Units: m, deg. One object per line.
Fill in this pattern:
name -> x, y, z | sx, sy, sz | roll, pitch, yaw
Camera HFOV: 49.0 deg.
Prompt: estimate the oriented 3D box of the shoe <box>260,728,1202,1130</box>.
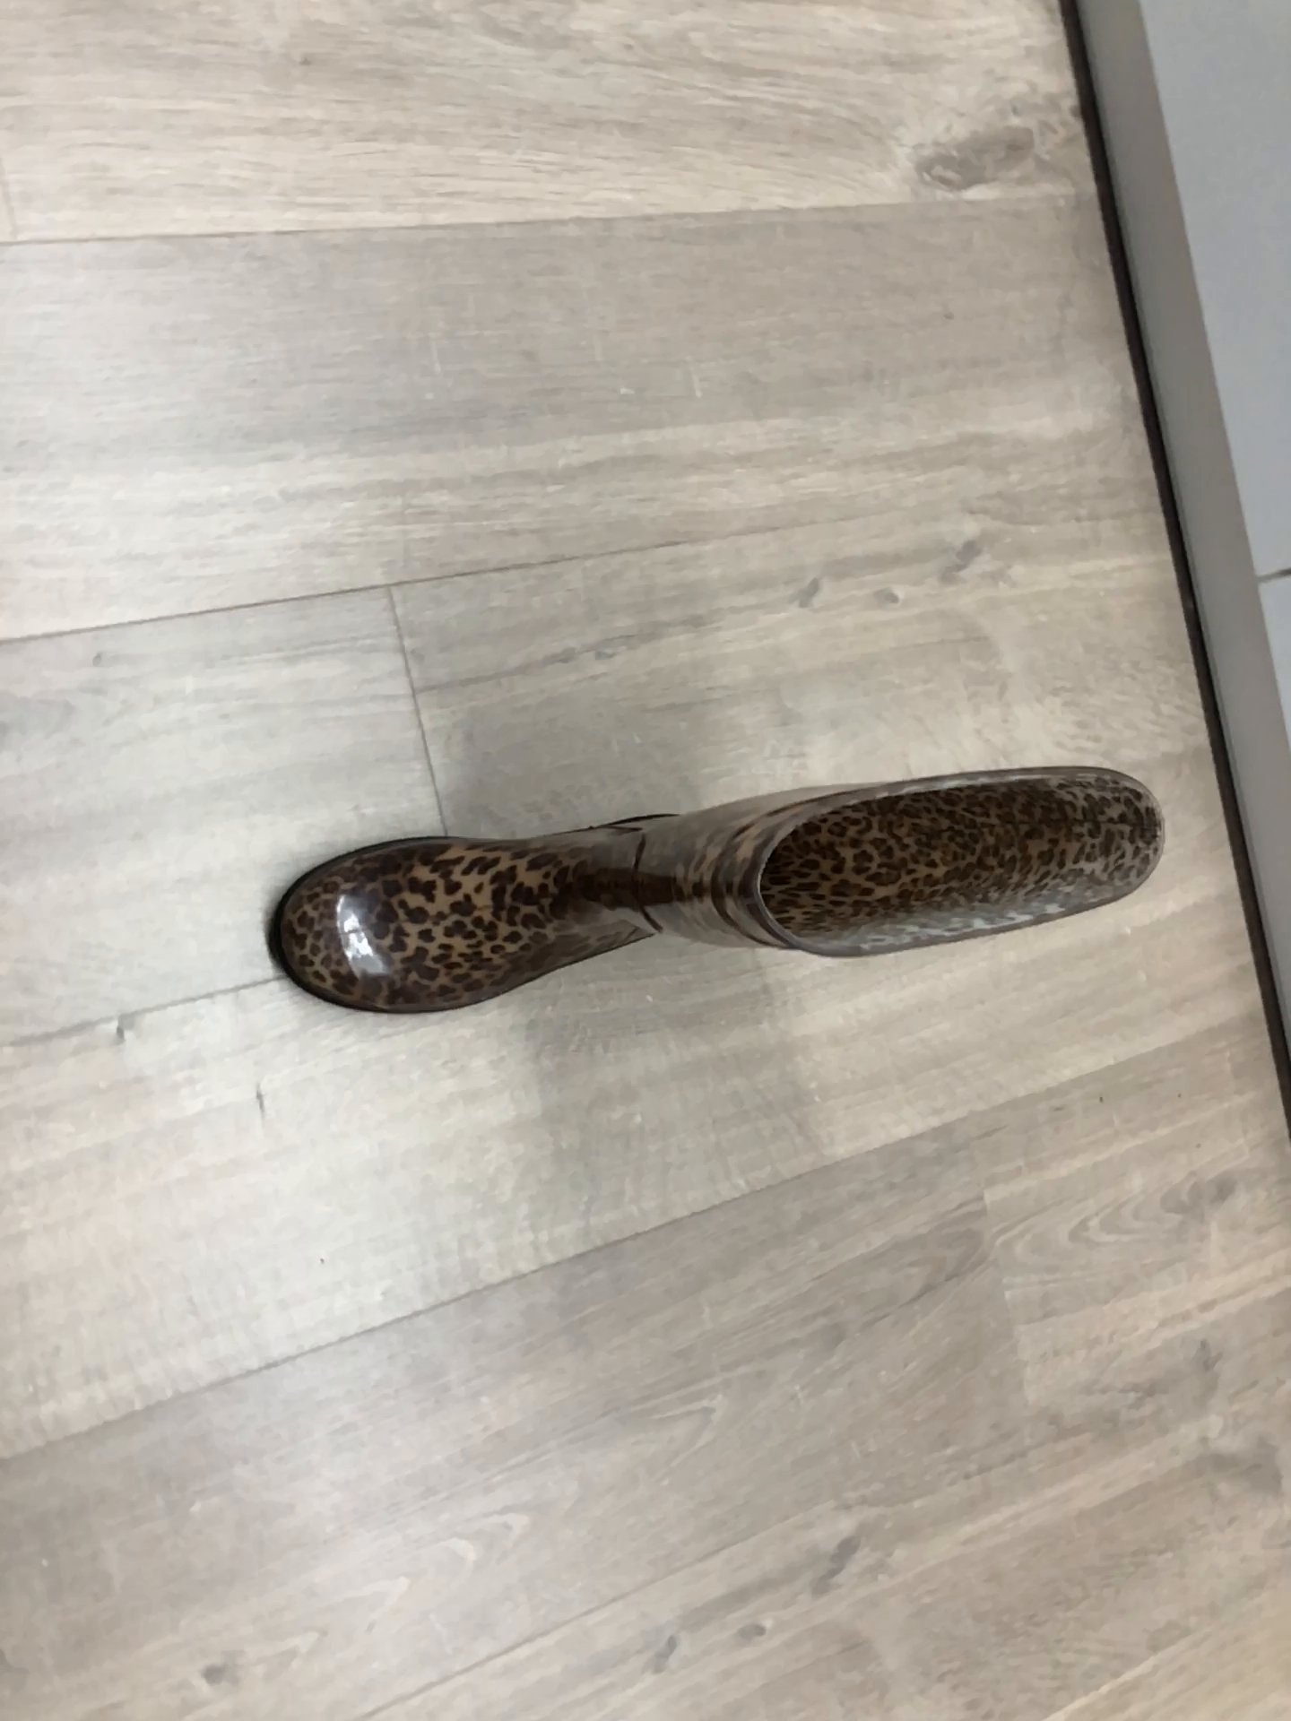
shoe -> 0.004, 0.020, 0.618 | 0.281, 0.339, 0.090 | -8, 91, -23
